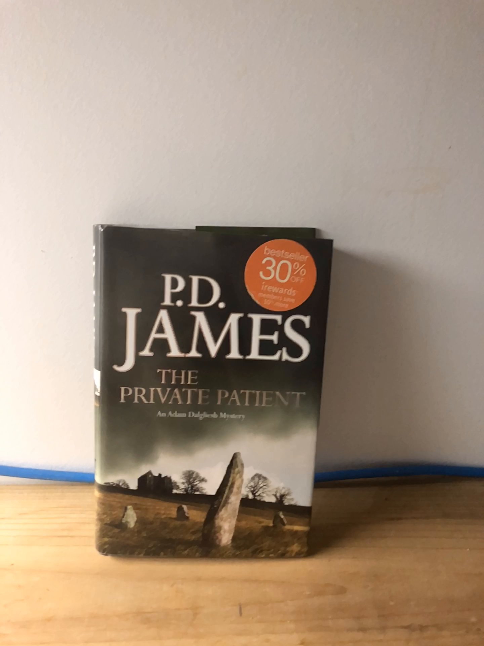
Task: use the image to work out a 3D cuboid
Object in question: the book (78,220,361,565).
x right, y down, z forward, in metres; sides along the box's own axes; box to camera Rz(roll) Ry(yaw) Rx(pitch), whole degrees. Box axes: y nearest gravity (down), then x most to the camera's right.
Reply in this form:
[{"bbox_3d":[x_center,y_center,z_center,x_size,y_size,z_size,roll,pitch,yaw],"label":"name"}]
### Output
[{"bbox_3d":[-0.018,0.048,0.375,0.180,0.229,0.040,2,8,1],"label":"book"}]
